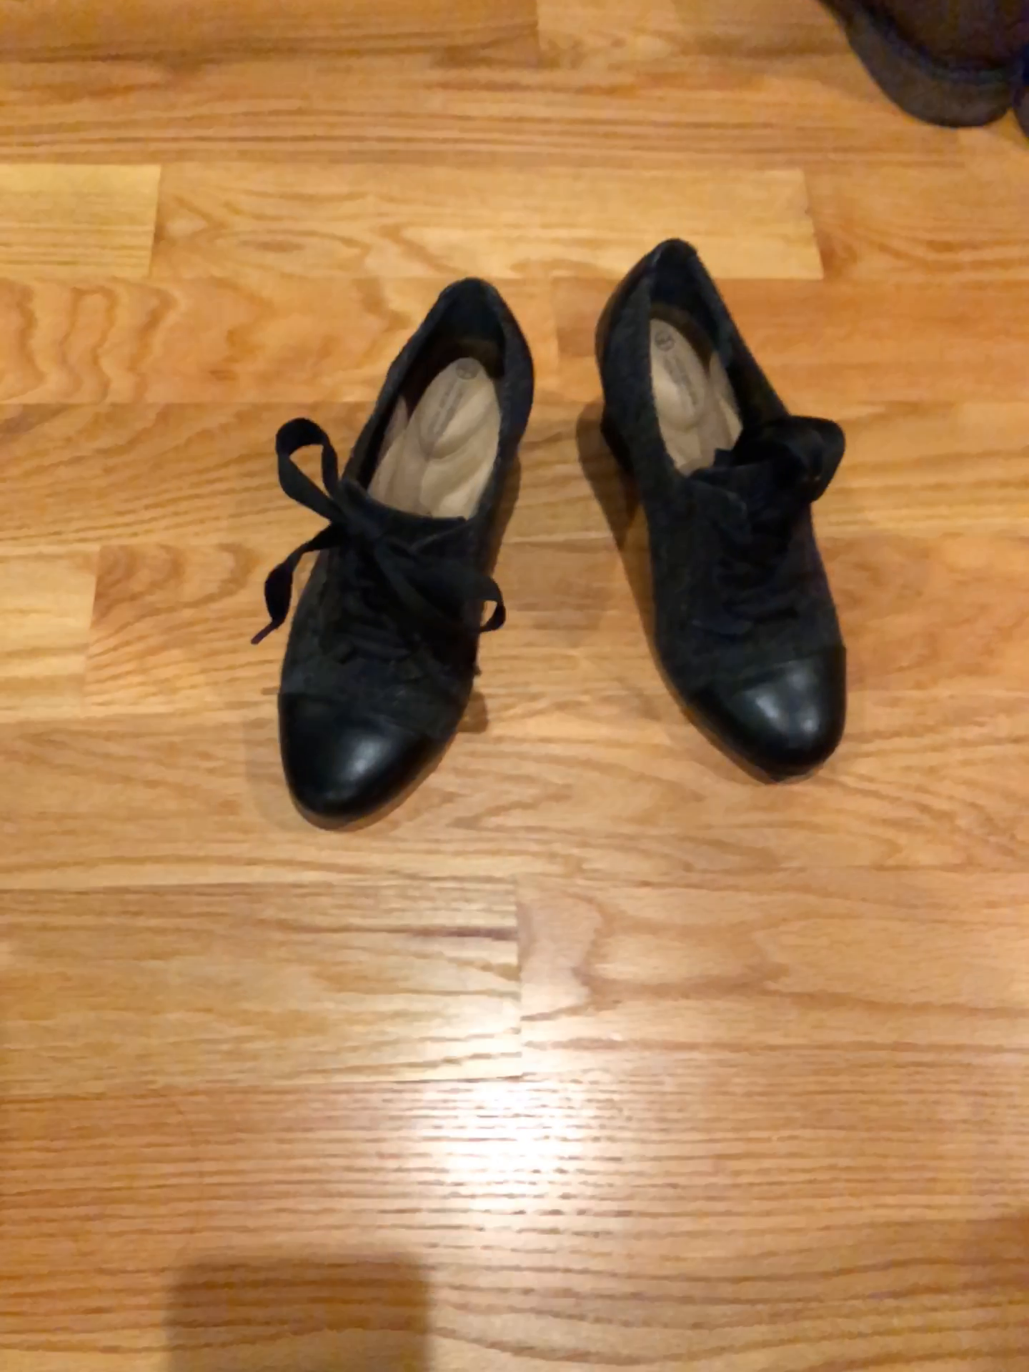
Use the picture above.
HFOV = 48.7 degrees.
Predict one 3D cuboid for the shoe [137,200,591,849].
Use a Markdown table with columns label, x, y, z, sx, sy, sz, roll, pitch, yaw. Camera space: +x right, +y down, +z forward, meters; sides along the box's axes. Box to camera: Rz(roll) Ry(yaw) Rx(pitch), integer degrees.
| label | x | y | z | sx | sy | sz | roll | pitch | yaw |
| --- | --- | --- | --- | --- | --- | --- | --- | --- | --- |
| shoe | -0.050 | -0.066 | 0.479 | 0.093 | 0.125 | 0.224 | 17 | 66 | 5 |

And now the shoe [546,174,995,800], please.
| label | x | y | z | sx | sy | sz | roll | pitch | yaw |
| --- | --- | --- | --- | --- | --- | --- | --- | --- | --- |
| shoe | 0.093 | -0.084 | 0.493 | 0.088 | 0.125 | 0.224 | -14 | 67 | -9 |
